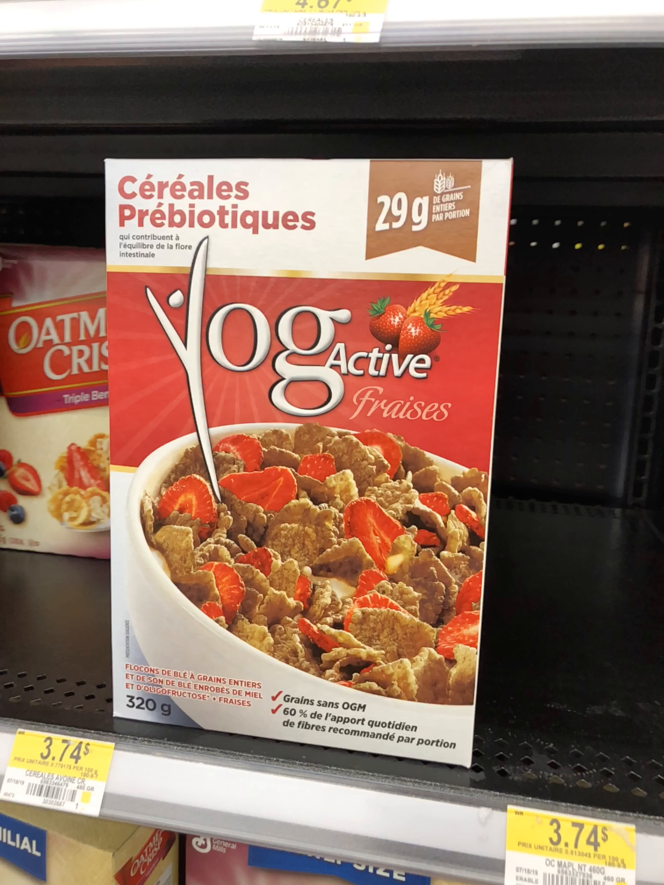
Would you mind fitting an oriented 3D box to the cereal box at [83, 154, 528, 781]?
[{"bbox_3d":[-0.018,0.011,0.373,0.200,0.289,0.050,4,11,10],"label":"cereal box"}]
